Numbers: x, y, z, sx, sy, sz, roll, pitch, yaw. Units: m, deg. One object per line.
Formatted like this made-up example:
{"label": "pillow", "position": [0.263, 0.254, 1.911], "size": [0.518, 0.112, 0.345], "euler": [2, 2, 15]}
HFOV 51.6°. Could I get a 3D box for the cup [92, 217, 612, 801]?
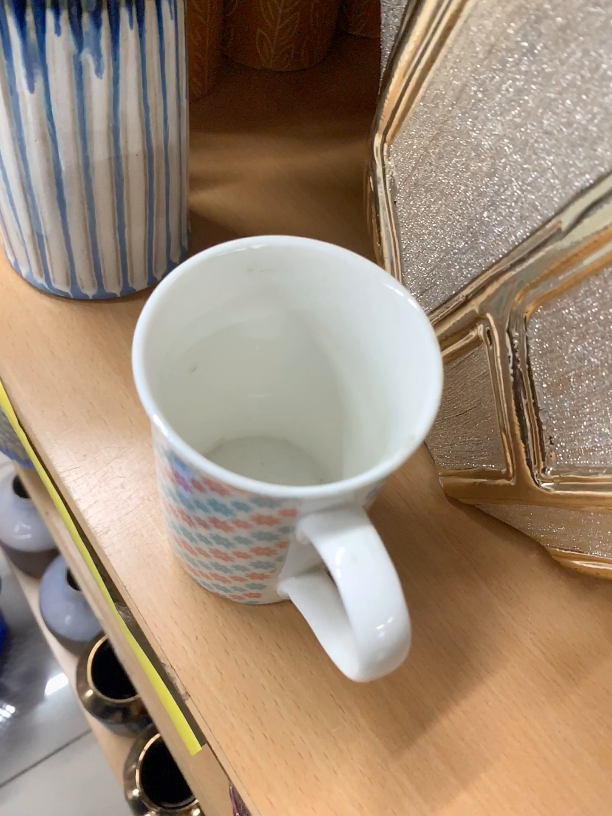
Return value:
{"label": "cup", "position": [-0.002, 0.033, 0.188], "size": [0.080, 0.110, 0.120], "euler": [-15, 62, -20]}
